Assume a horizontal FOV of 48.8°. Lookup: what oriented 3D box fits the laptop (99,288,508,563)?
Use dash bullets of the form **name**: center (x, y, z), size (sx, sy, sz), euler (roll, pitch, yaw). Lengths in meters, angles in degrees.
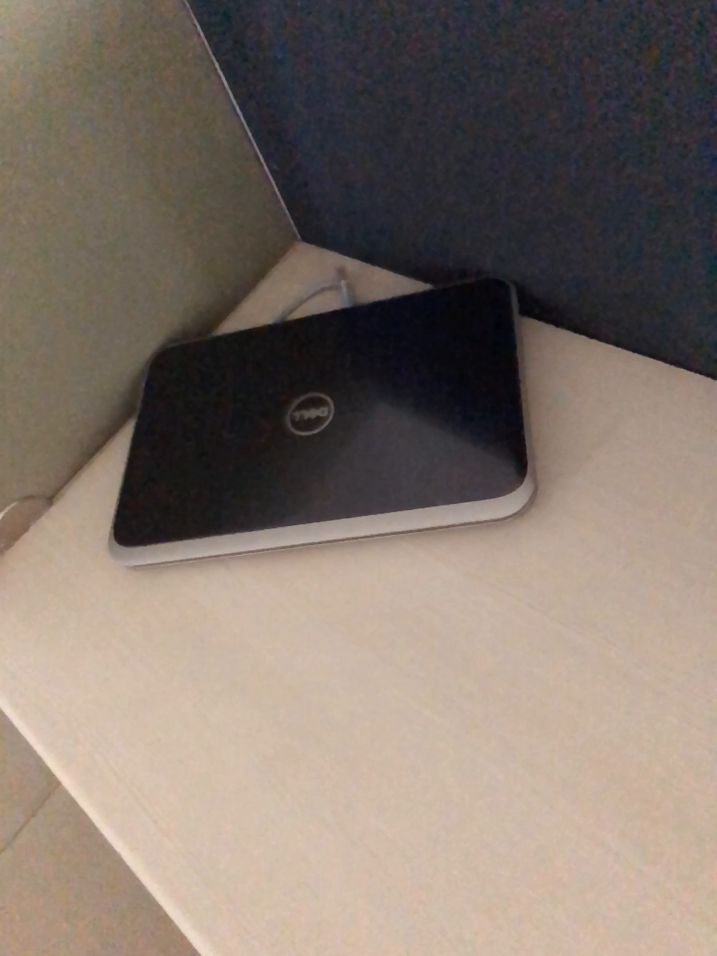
- **laptop**: center (-0.056, -0.048, 0.725), size (0.372, 0.010, 0.246), euler (-8, 54, 20)
